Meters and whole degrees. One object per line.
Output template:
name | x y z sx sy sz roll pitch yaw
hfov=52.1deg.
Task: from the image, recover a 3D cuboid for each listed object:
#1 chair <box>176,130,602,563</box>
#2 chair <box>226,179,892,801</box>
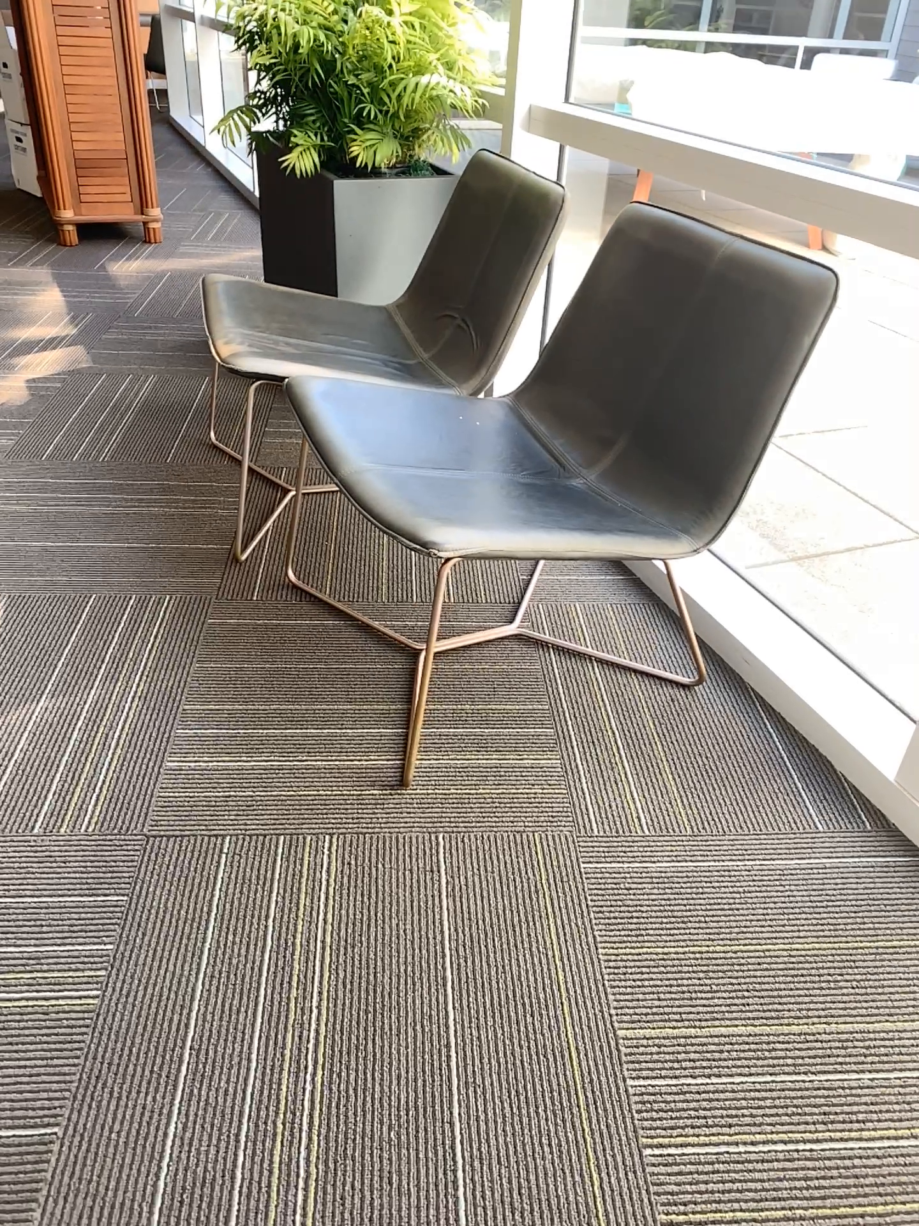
chair | -0.198 -0.611 2.027 0.690 0.676 0.704 -7 35 -16
chair | 0.078 -0.270 1.525 0.690 0.676 0.704 -12 36 -23
